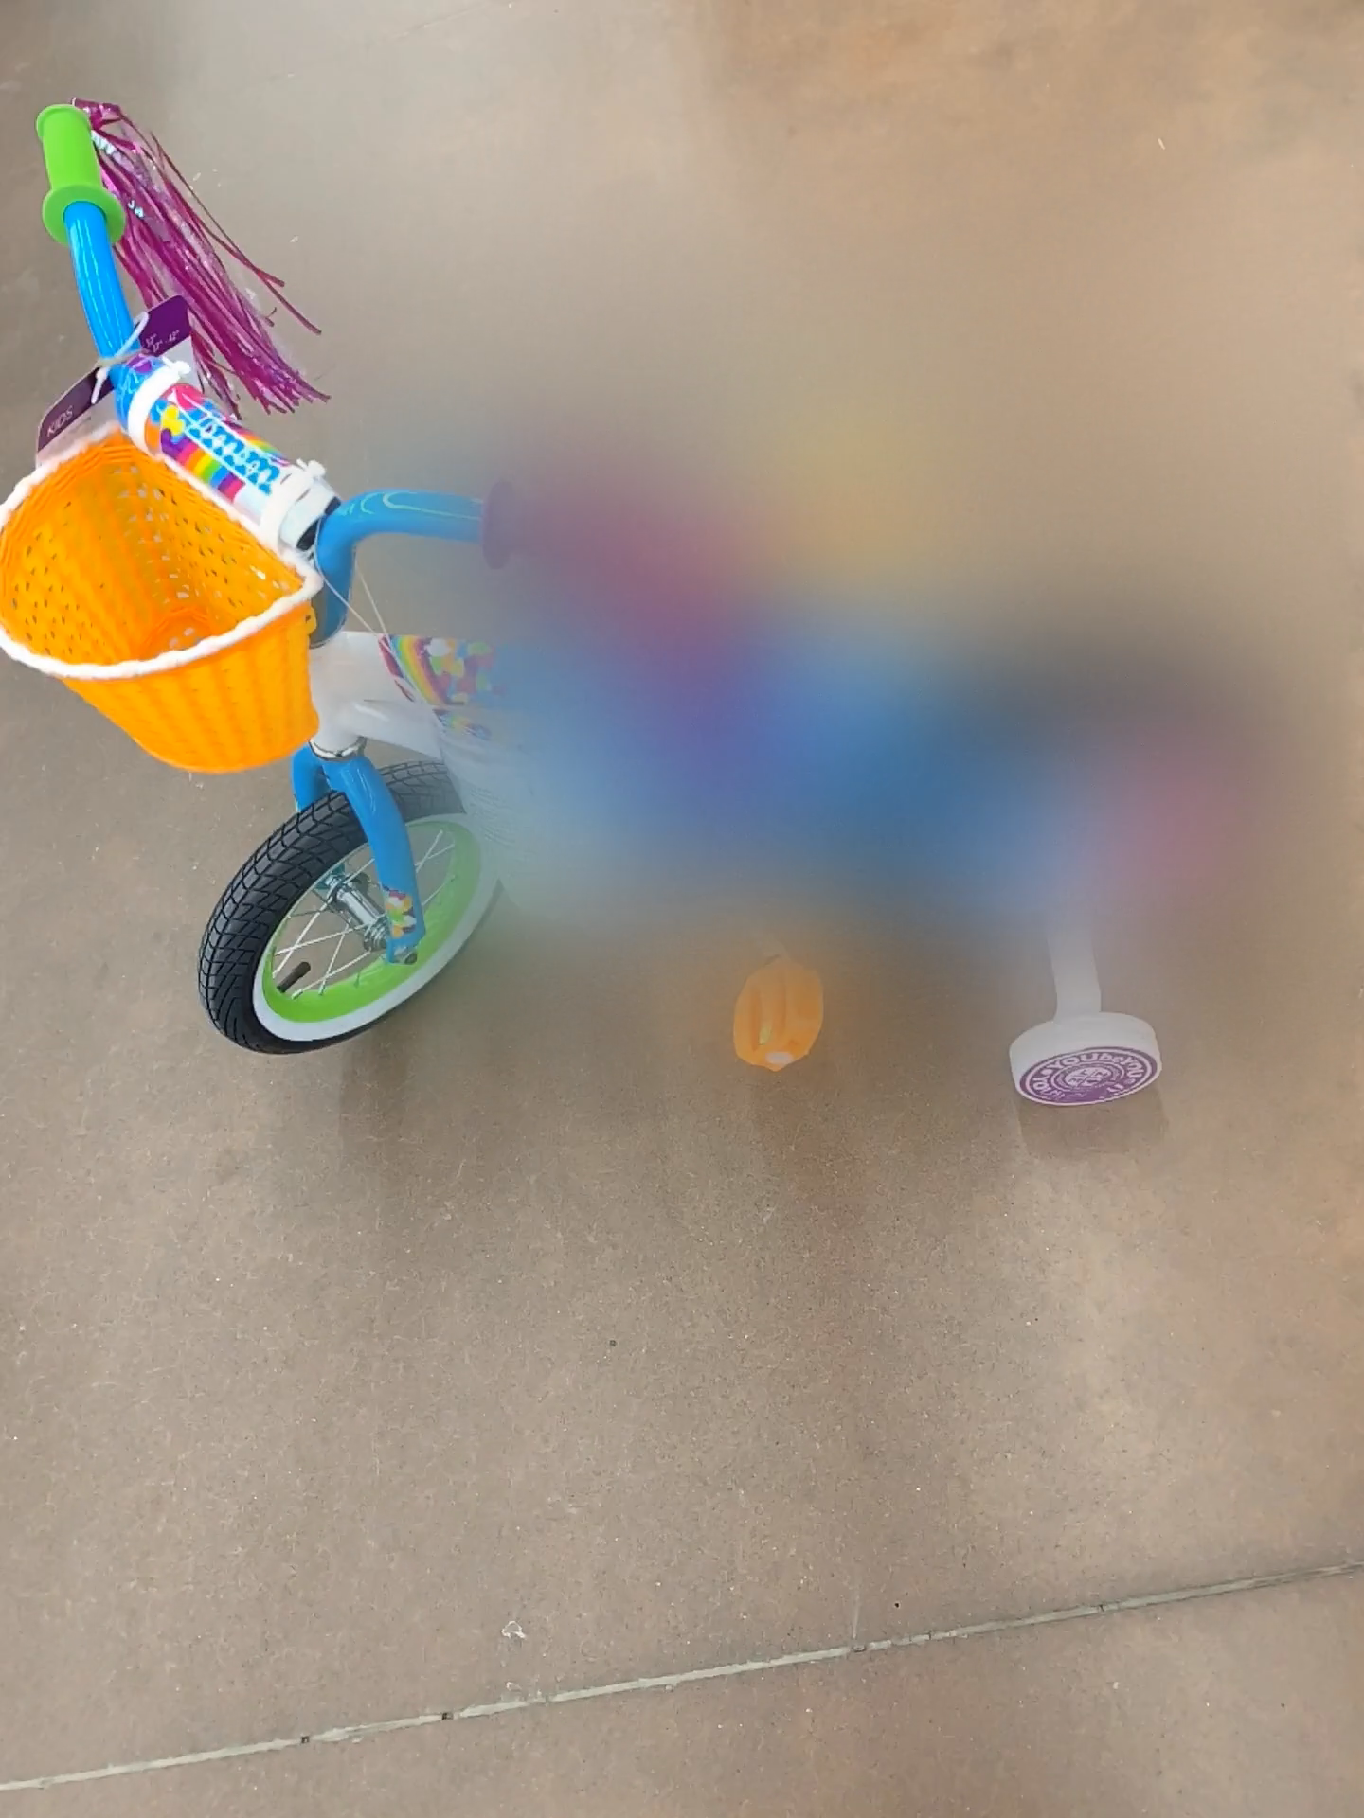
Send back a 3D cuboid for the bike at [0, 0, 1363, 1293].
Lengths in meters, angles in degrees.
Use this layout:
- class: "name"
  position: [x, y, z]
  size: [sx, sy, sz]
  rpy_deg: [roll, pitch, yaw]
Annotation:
- class: "bike"
  position: [-0.040, -0.189, 0.940]
  size: [0.816, 0.664, 0.554]
  rpy_deg: [-15, 55, 5]
